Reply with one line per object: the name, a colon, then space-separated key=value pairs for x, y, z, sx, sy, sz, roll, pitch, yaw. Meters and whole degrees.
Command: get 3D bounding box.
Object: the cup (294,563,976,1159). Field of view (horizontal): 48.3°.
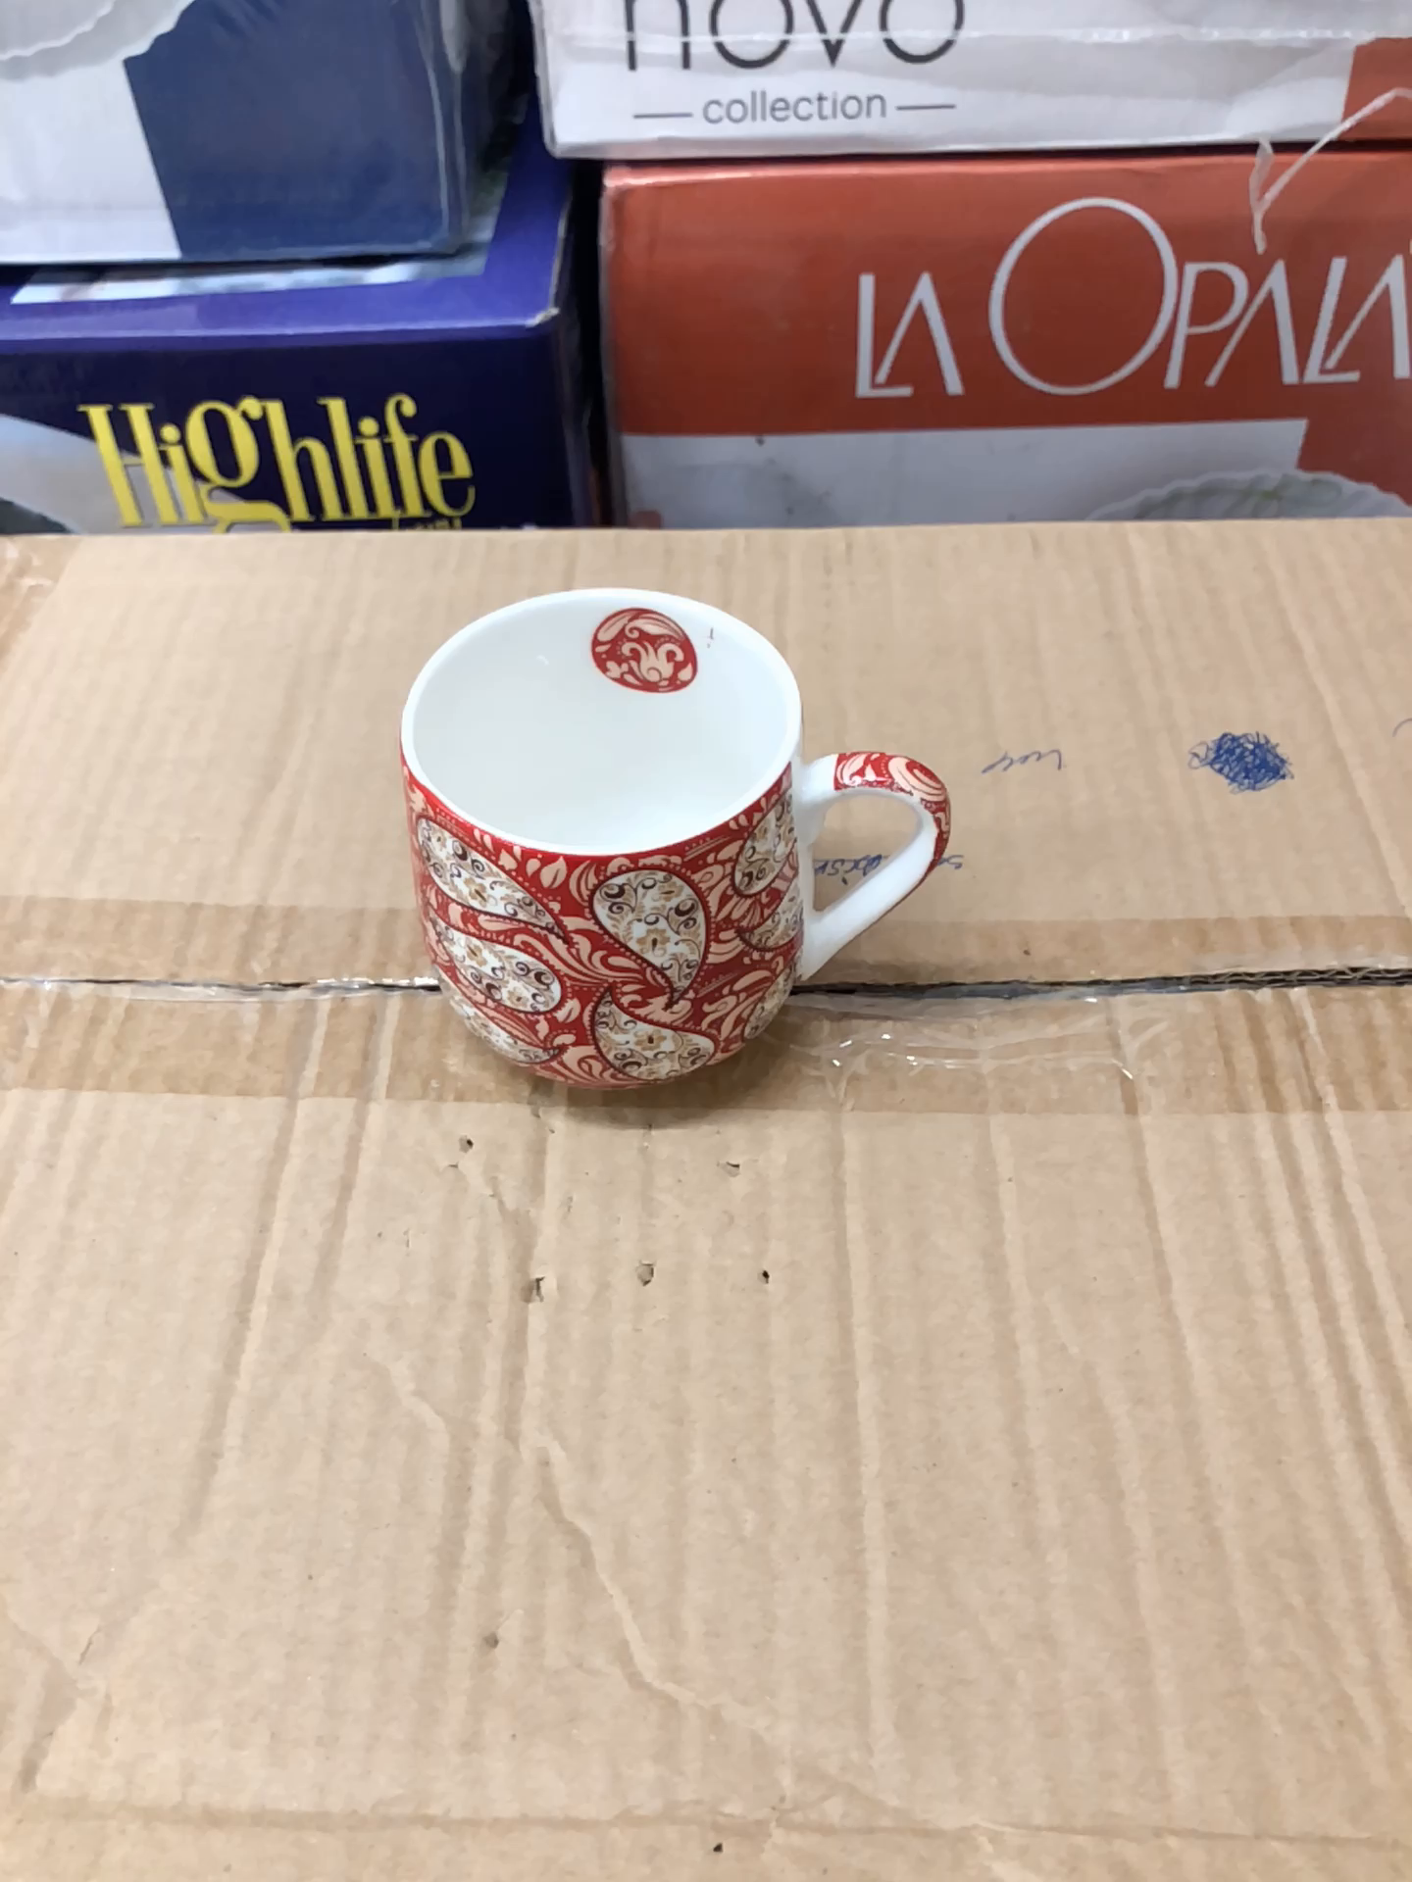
cup: x=-0.011 y=-0.014 z=0.254 sx=0.090 sy=0.060 sz=0.070 roll=-3 pitch=44 yaw=-2
